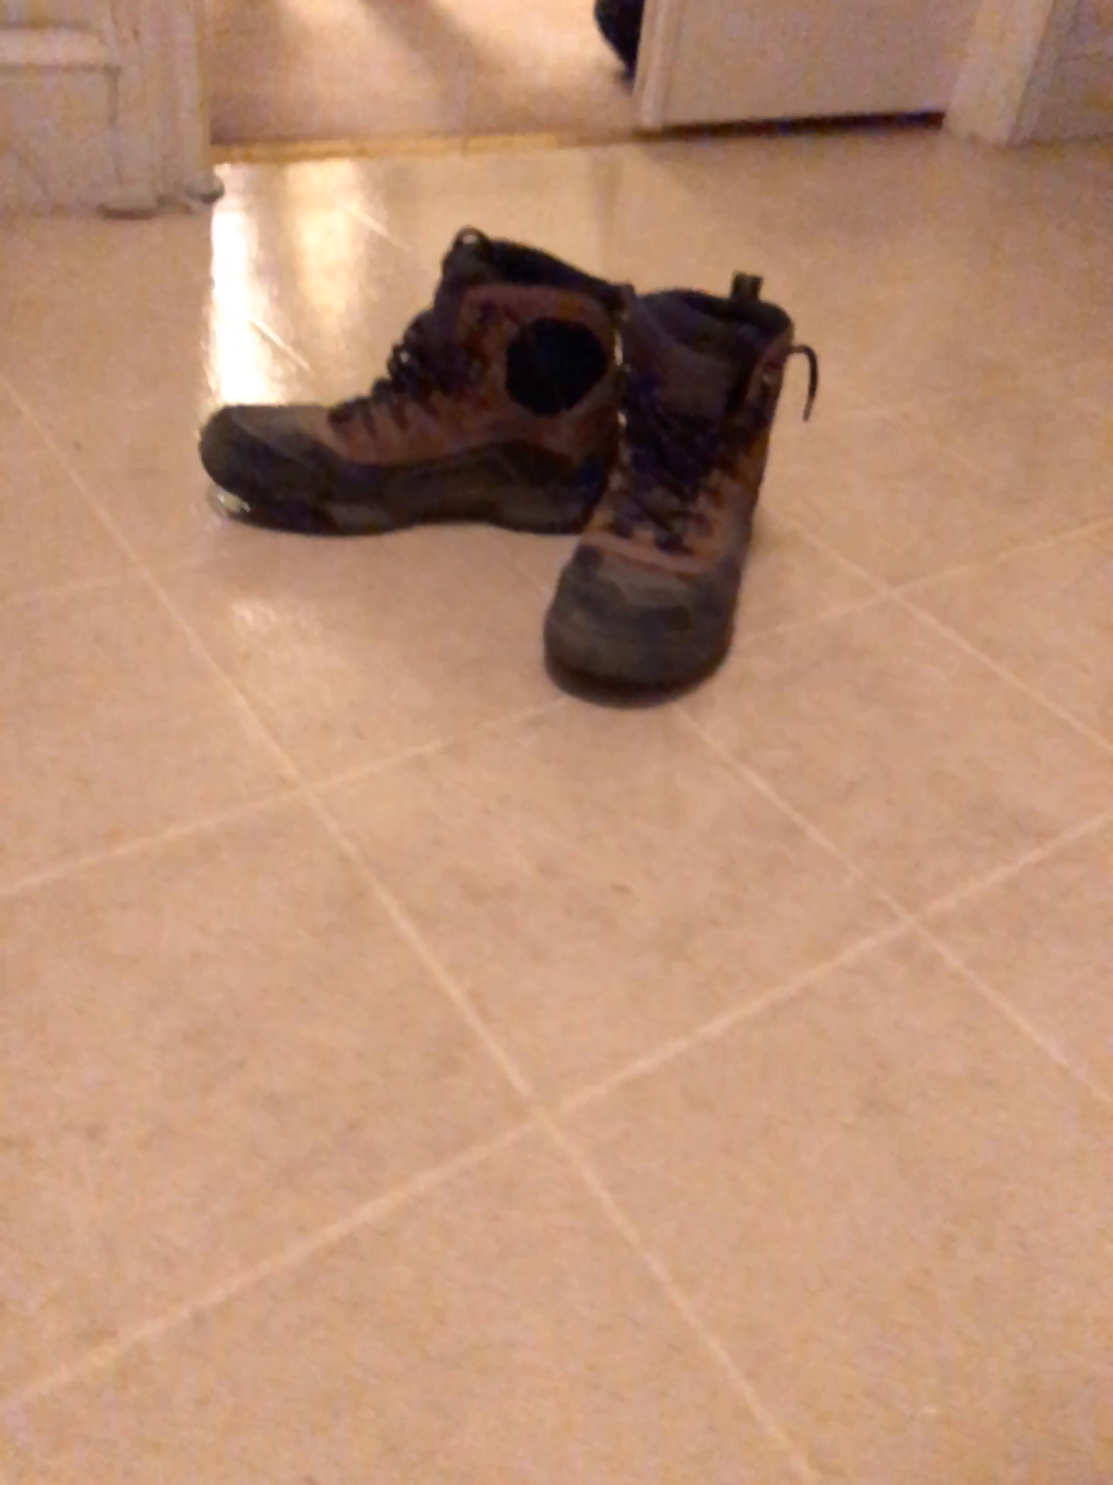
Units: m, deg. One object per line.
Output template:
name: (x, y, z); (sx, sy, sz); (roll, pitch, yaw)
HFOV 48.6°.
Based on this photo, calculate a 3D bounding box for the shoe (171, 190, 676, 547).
shoe: (-0.091, -0.241, 0.817); (0.293, 0.185, 0.114); (-1, 40, -11)

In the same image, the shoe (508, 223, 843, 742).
shoe: (0.080, -0.176, 0.768); (0.121, 0.185, 0.301); (15, 40, 8)
